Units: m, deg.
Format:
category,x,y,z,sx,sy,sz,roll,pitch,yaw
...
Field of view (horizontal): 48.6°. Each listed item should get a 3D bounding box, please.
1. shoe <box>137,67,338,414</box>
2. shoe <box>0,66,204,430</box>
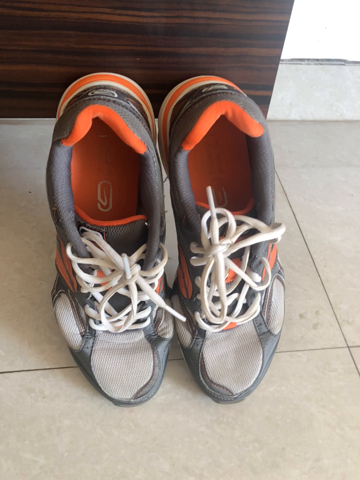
category,x,y,z,sx,sy,sz,roll,pitch,yaw
shoe,0.036,-0.001,0.336,0.120,0.259,0.111,-5,23,-4
shoe,-0.053,0.006,0.328,0.120,0.269,0.100,-7,25,-12
